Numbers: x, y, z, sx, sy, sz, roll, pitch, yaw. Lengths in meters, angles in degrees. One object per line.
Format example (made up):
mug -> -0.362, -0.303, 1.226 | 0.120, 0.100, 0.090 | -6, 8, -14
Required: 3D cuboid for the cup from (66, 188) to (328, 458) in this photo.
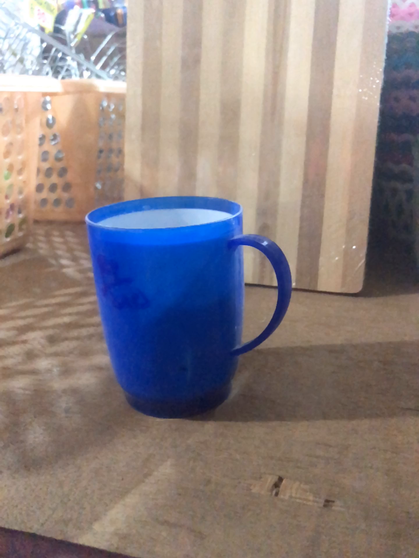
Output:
cup -> -0.001, 0.014, 0.249 | 0.110, 0.110, 0.070 | 6, 22, 24
